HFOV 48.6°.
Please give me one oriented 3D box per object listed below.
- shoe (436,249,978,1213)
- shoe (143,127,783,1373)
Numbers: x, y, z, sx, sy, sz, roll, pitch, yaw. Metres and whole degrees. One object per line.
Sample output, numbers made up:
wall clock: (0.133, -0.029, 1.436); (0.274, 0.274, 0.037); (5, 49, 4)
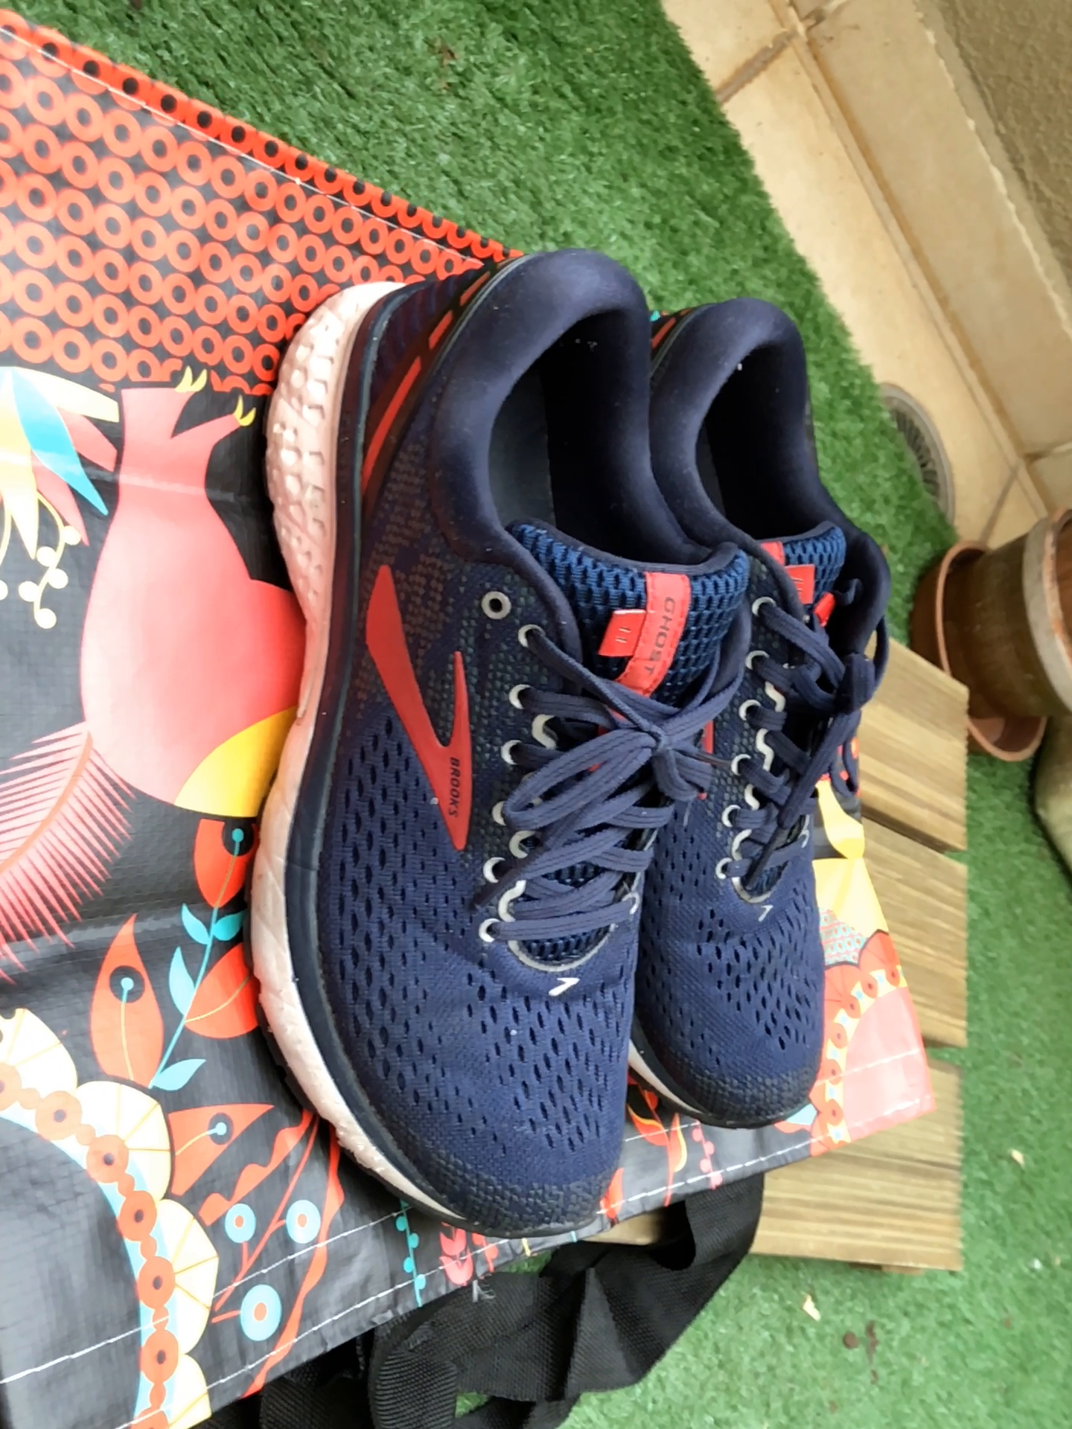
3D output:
shoe: (0.054, 0.005, 0.393); (0.101, 0.099, 0.265); (-3, 84, -43)
shoe: (-0.023, 0.007, 0.323); (0.108, 0.099, 0.265); (-1, 82, -43)
